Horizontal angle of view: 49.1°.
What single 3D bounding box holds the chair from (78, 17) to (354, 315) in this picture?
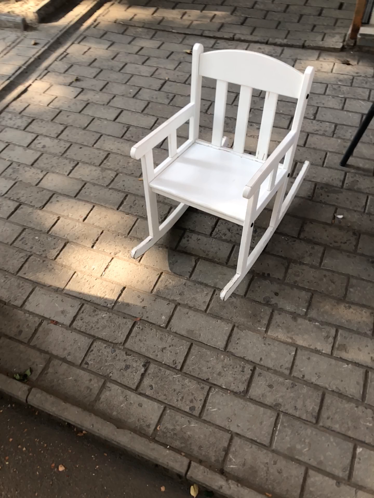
[{"bbox_3d":[0.133,-0.294,1.267,0.440,0.458,0.752,22,56,21],"label":"chair"}]
